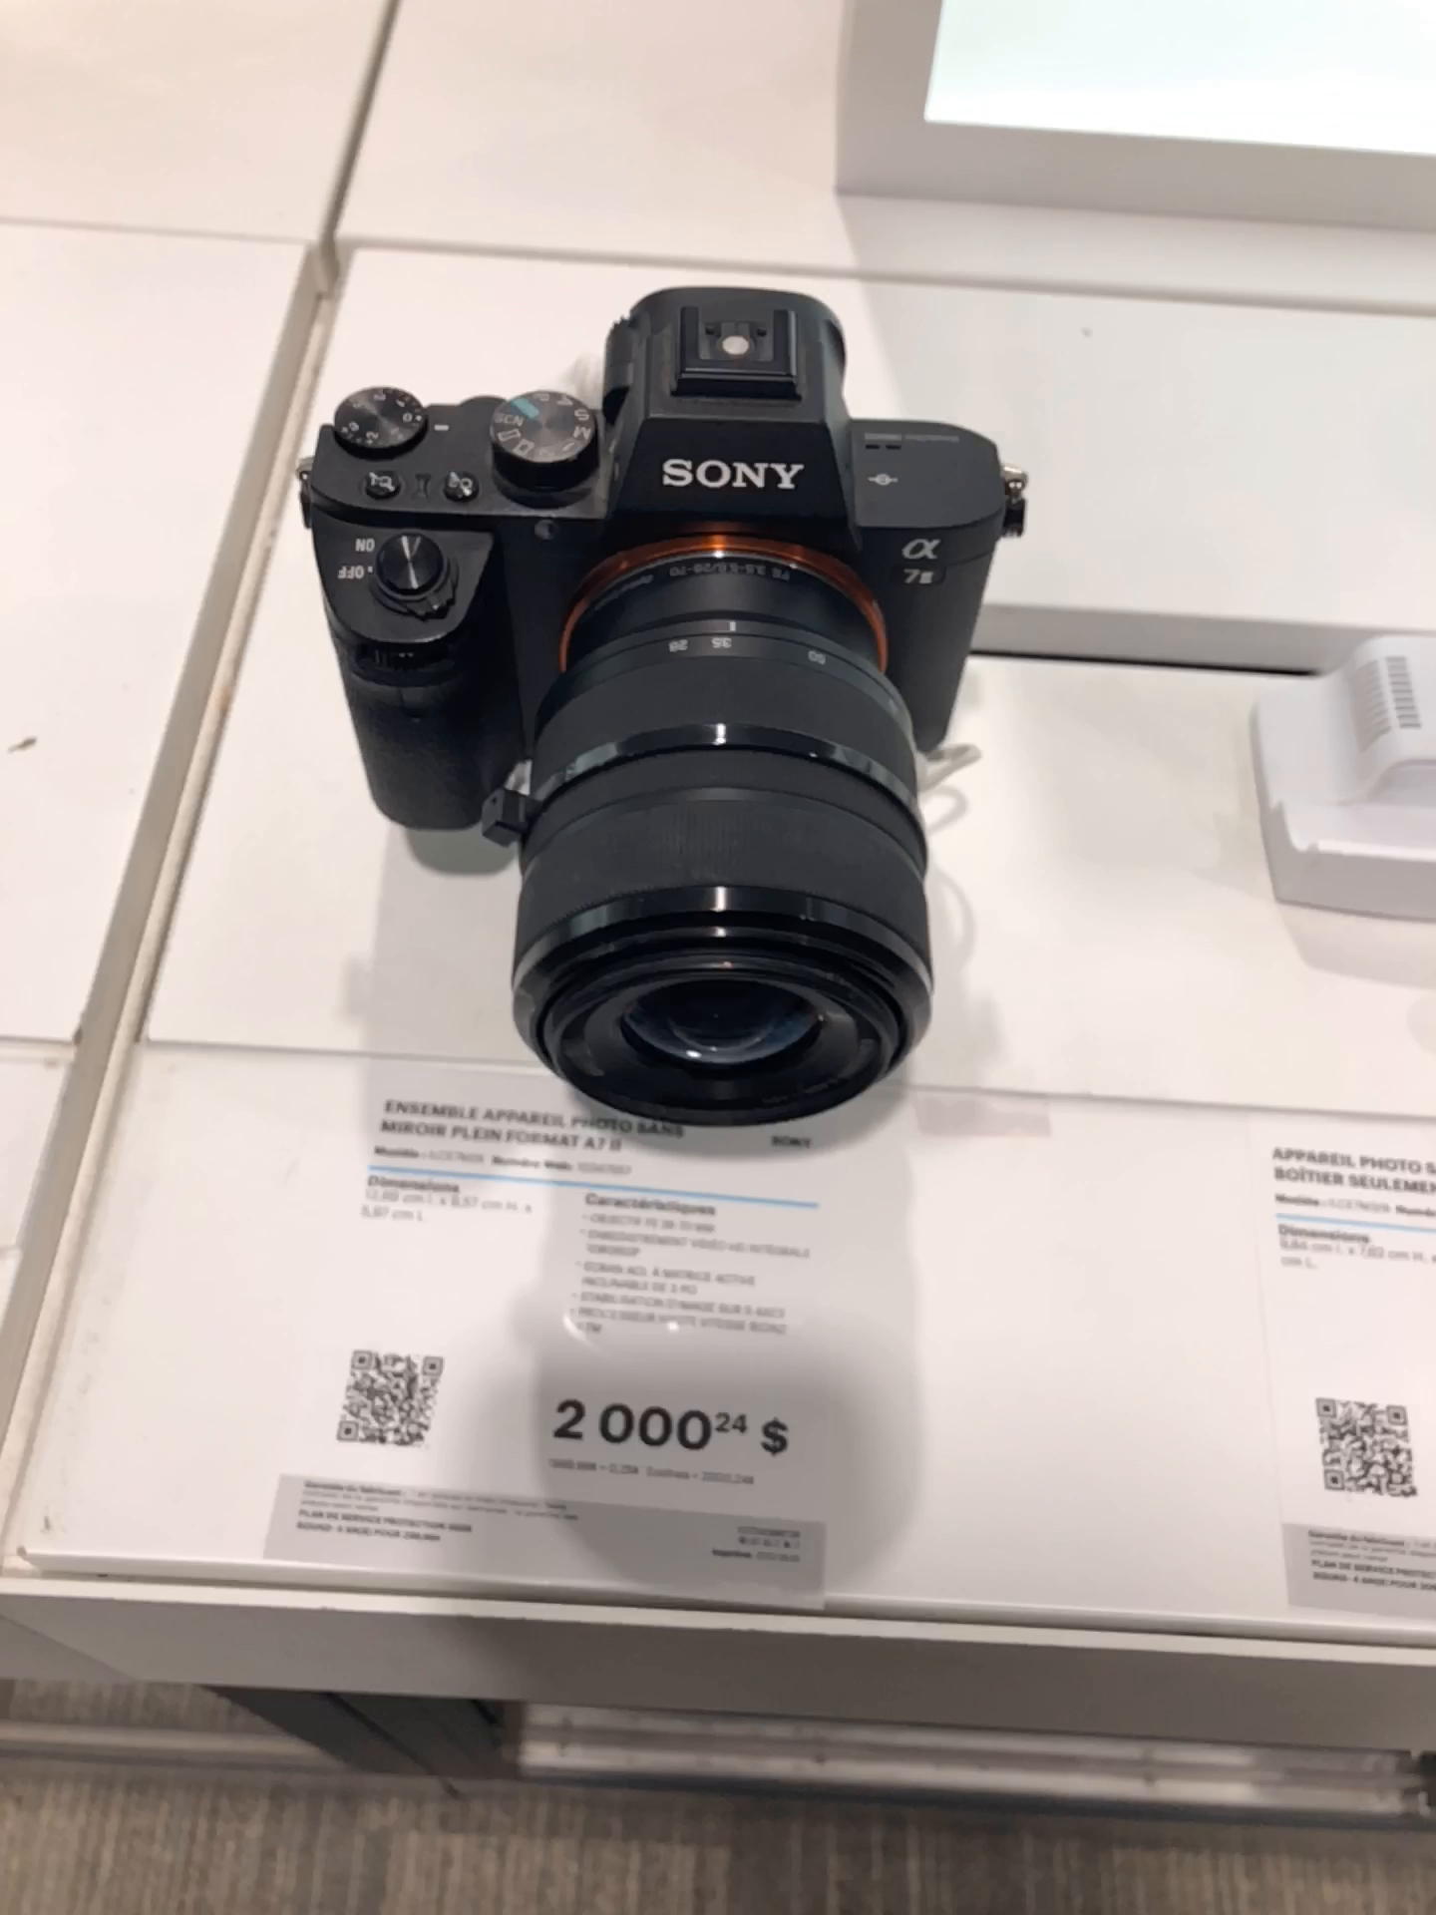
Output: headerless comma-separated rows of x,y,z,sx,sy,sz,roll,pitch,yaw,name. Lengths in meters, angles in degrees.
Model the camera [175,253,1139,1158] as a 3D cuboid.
-0.010,-0.044,0.299,0.134,0.099,0.131,1,58,-2,camera
